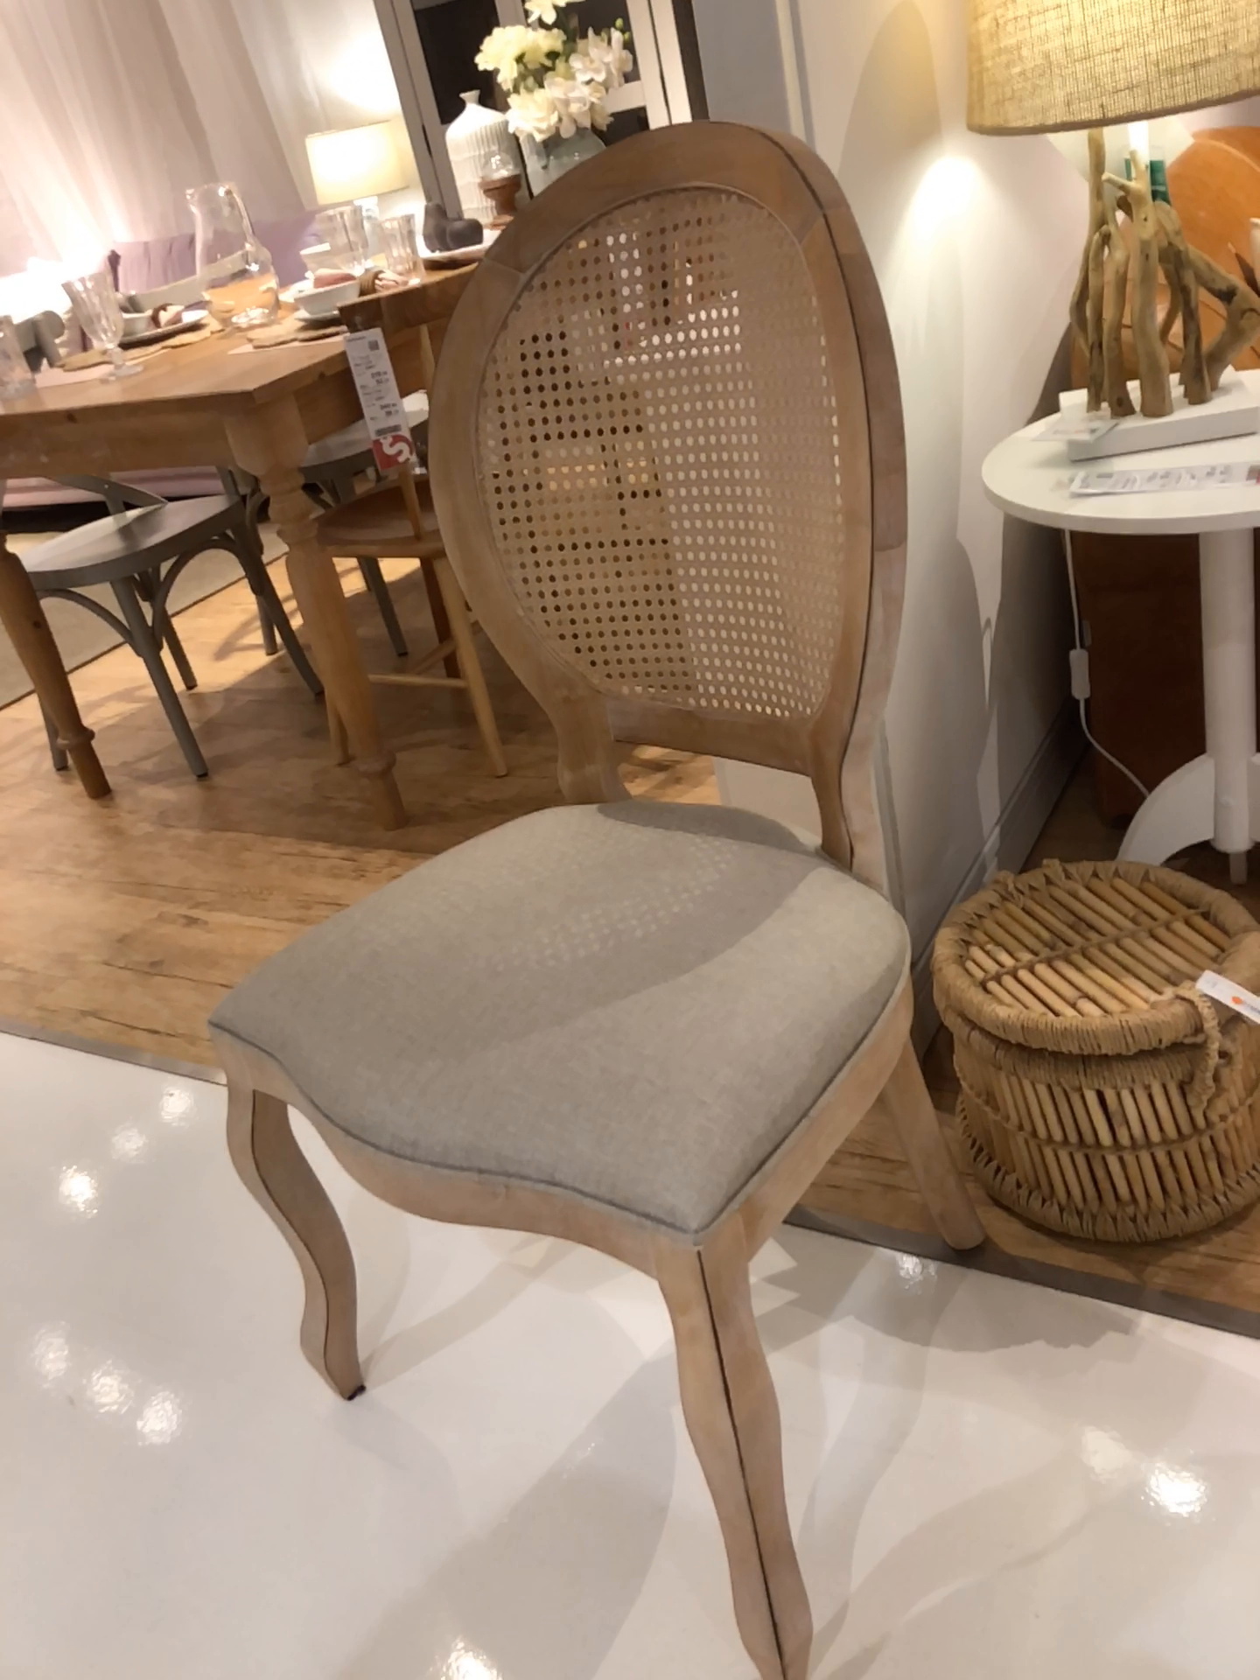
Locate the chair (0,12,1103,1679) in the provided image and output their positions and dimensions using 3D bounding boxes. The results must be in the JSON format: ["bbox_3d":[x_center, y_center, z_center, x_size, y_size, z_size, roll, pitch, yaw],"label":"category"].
[{"bbox_3d":[-0.055,0.012,1.047,0.592,0.963,0.522,12,37,39],"label":"chair"}]
